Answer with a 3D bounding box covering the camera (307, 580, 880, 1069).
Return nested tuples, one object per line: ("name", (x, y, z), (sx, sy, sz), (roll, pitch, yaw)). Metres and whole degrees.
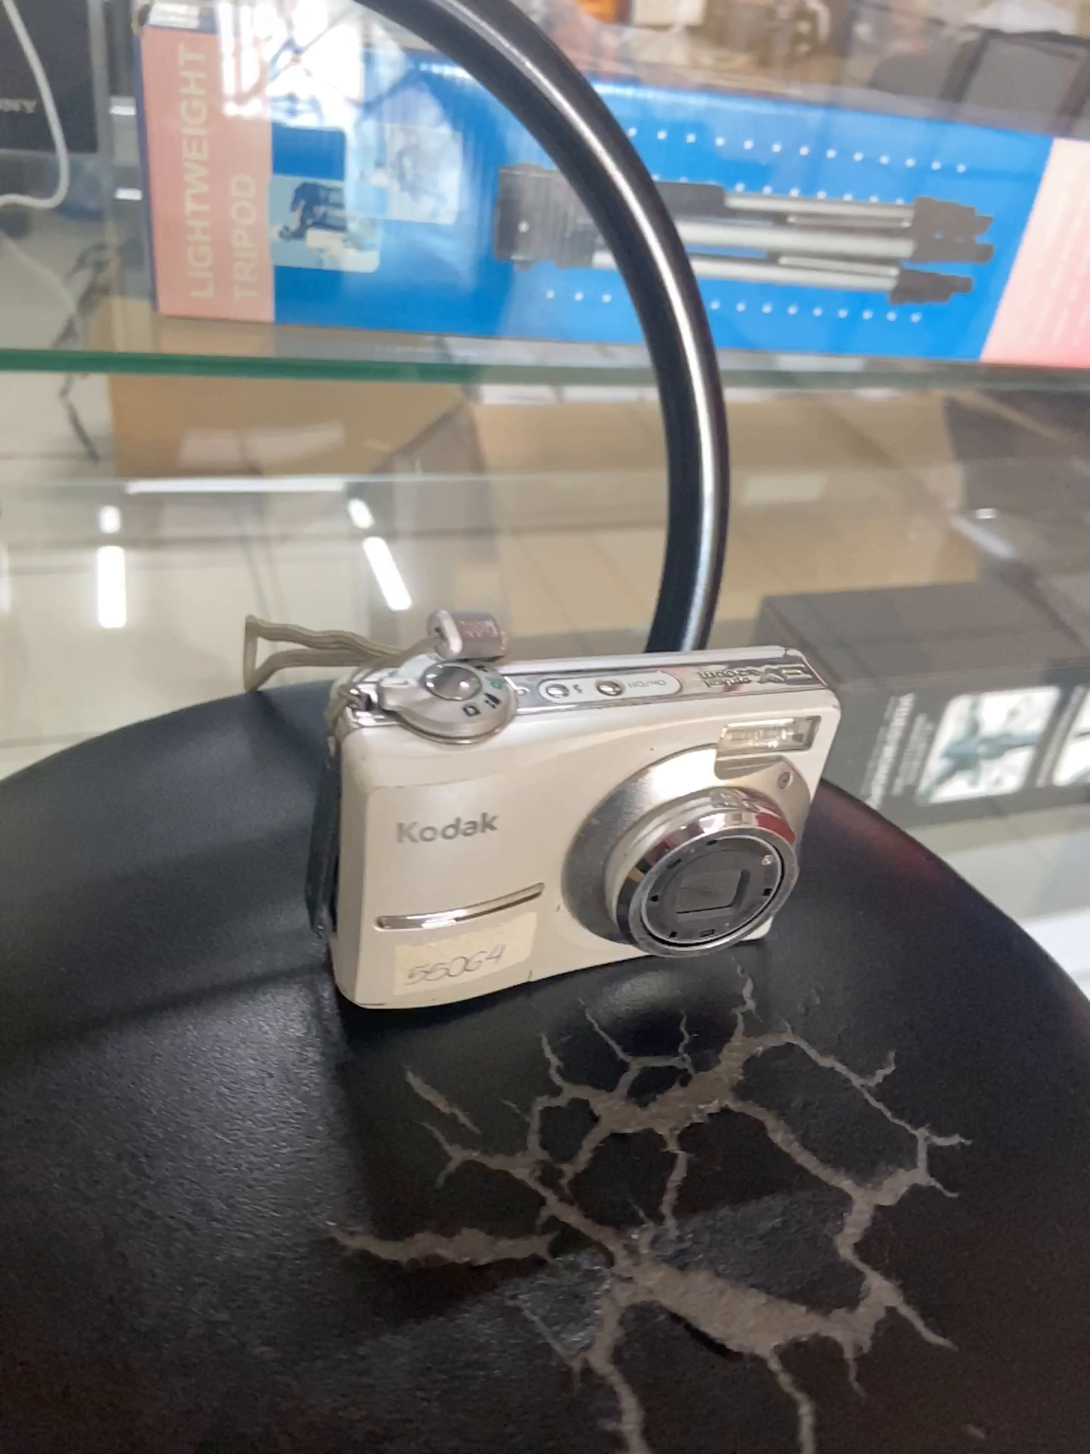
("camera", (0.004, 0.016, 0.214), (0.090, 0.070, 0.040), (-7, 38, -21))
